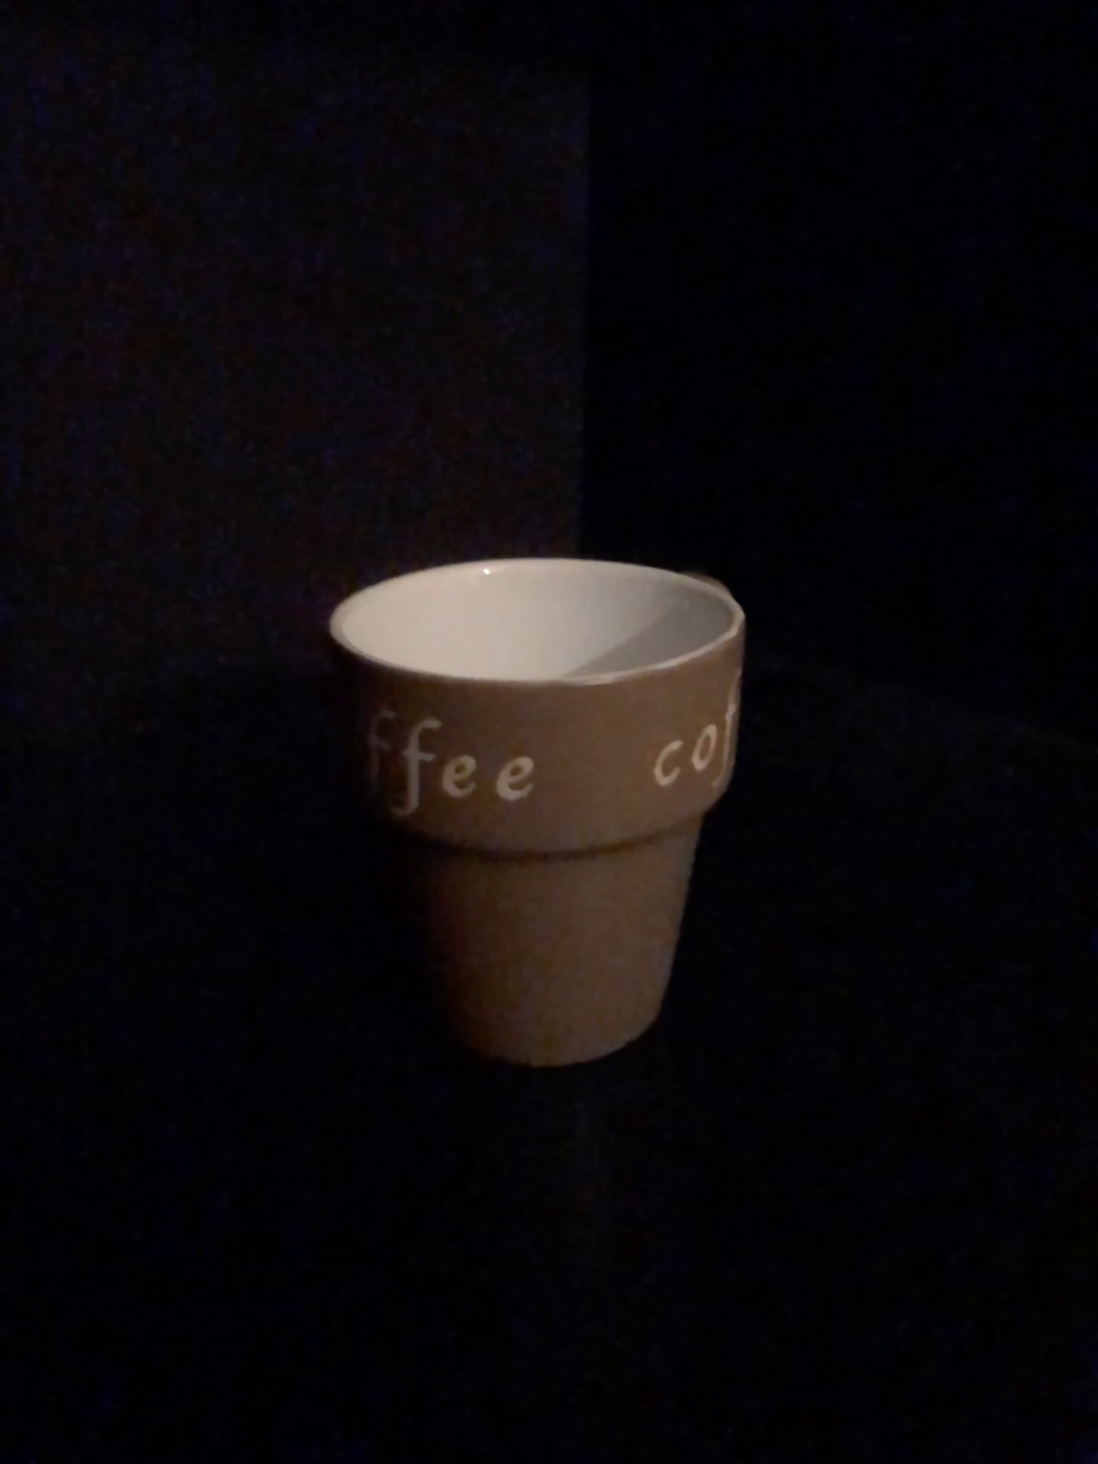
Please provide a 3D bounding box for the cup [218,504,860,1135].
[{"bbox_3d":[0.002,0.007,0.263,0.080,0.082,0.108,18,29,35],"label":"cup"}]
